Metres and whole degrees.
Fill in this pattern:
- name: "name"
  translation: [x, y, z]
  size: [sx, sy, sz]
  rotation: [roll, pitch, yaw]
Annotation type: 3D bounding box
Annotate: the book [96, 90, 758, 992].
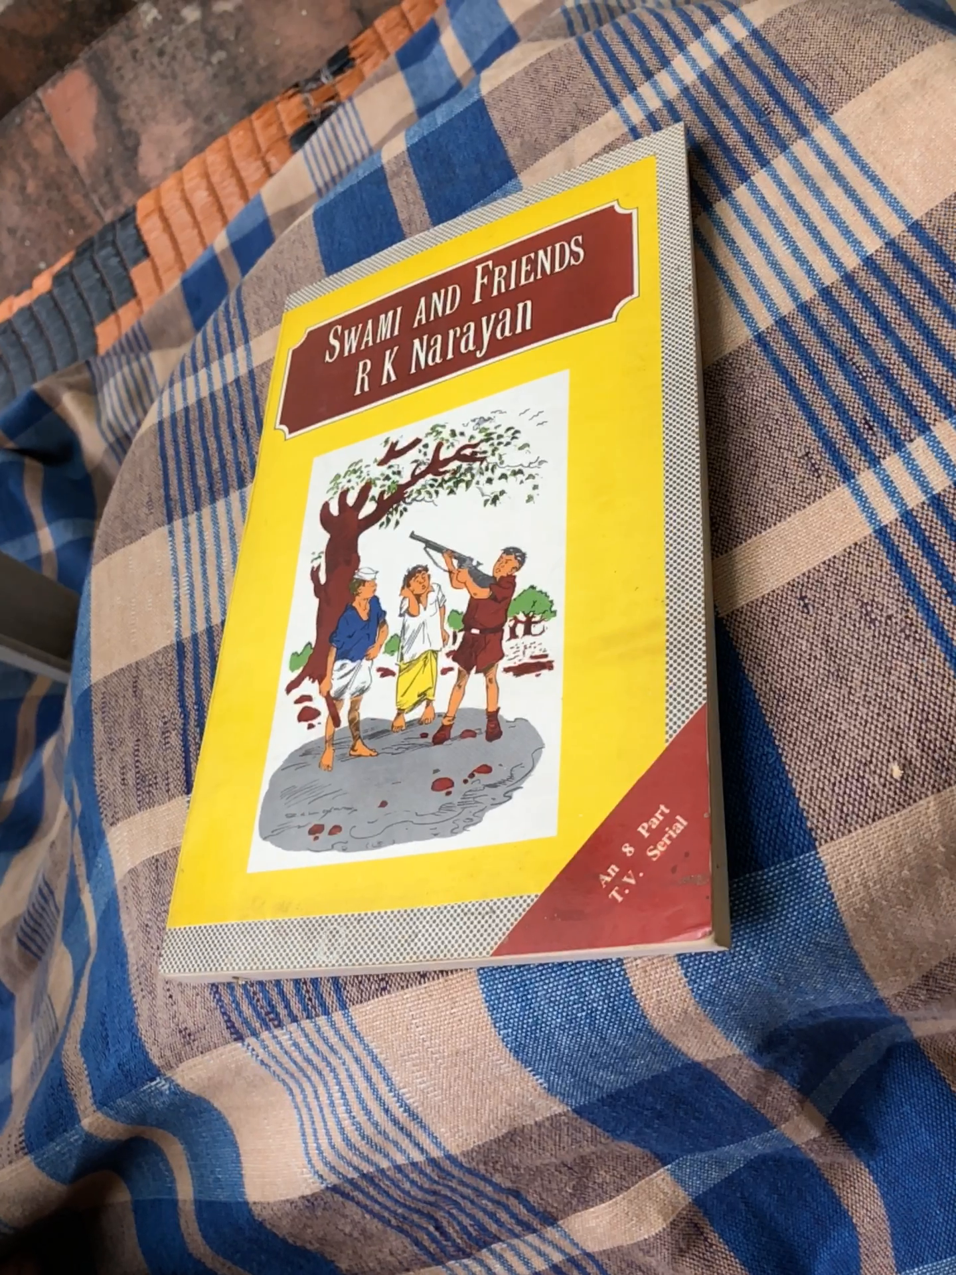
- name: "book"
  translation: [-0.010, -0.024, 0.237]
  size: [0.130, 0.020, 0.190]
  rotation: [-13, 57, 29]
